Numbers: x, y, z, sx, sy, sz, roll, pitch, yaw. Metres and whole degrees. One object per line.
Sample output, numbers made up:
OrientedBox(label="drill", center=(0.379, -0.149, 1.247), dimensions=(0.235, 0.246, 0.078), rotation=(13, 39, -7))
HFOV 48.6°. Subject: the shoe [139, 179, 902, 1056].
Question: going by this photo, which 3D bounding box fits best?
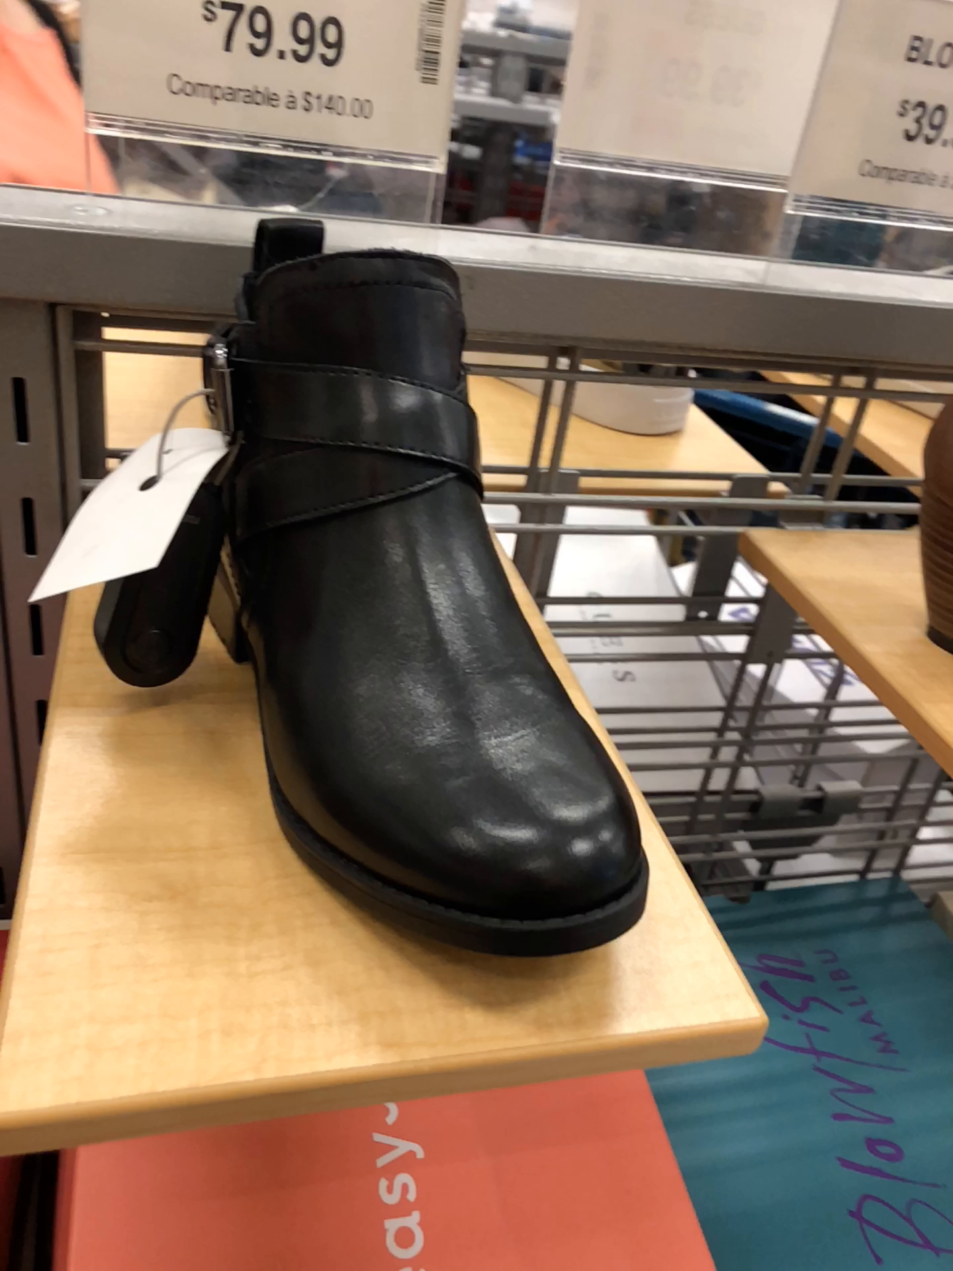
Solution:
OrientedBox(label="shoe", center=(-0.020, -0.030, 0.293), dimensions=(0.090, 0.133, 0.221), rotation=(-9, 36, -29))
